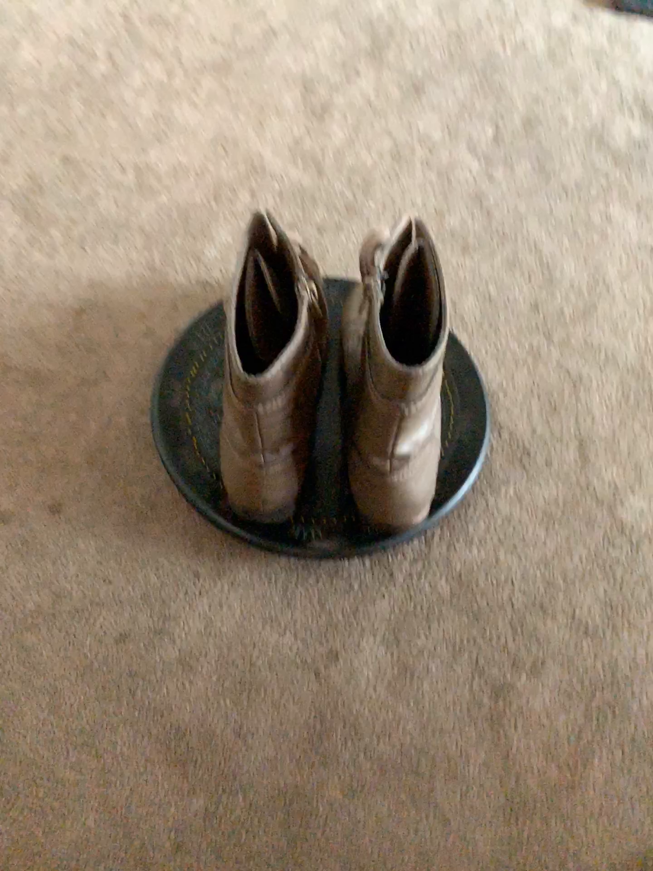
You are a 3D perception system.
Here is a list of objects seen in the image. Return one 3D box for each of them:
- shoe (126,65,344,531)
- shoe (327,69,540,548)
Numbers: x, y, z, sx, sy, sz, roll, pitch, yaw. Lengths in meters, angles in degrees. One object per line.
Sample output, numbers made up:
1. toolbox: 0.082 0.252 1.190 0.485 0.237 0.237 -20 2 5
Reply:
1. shoe: -0.047 -0.092 0.488 0.100 0.199 0.262 3 61 0
2. shoe: 0.059 -0.084 0.485 0.100 0.199 0.272 3 61 0
